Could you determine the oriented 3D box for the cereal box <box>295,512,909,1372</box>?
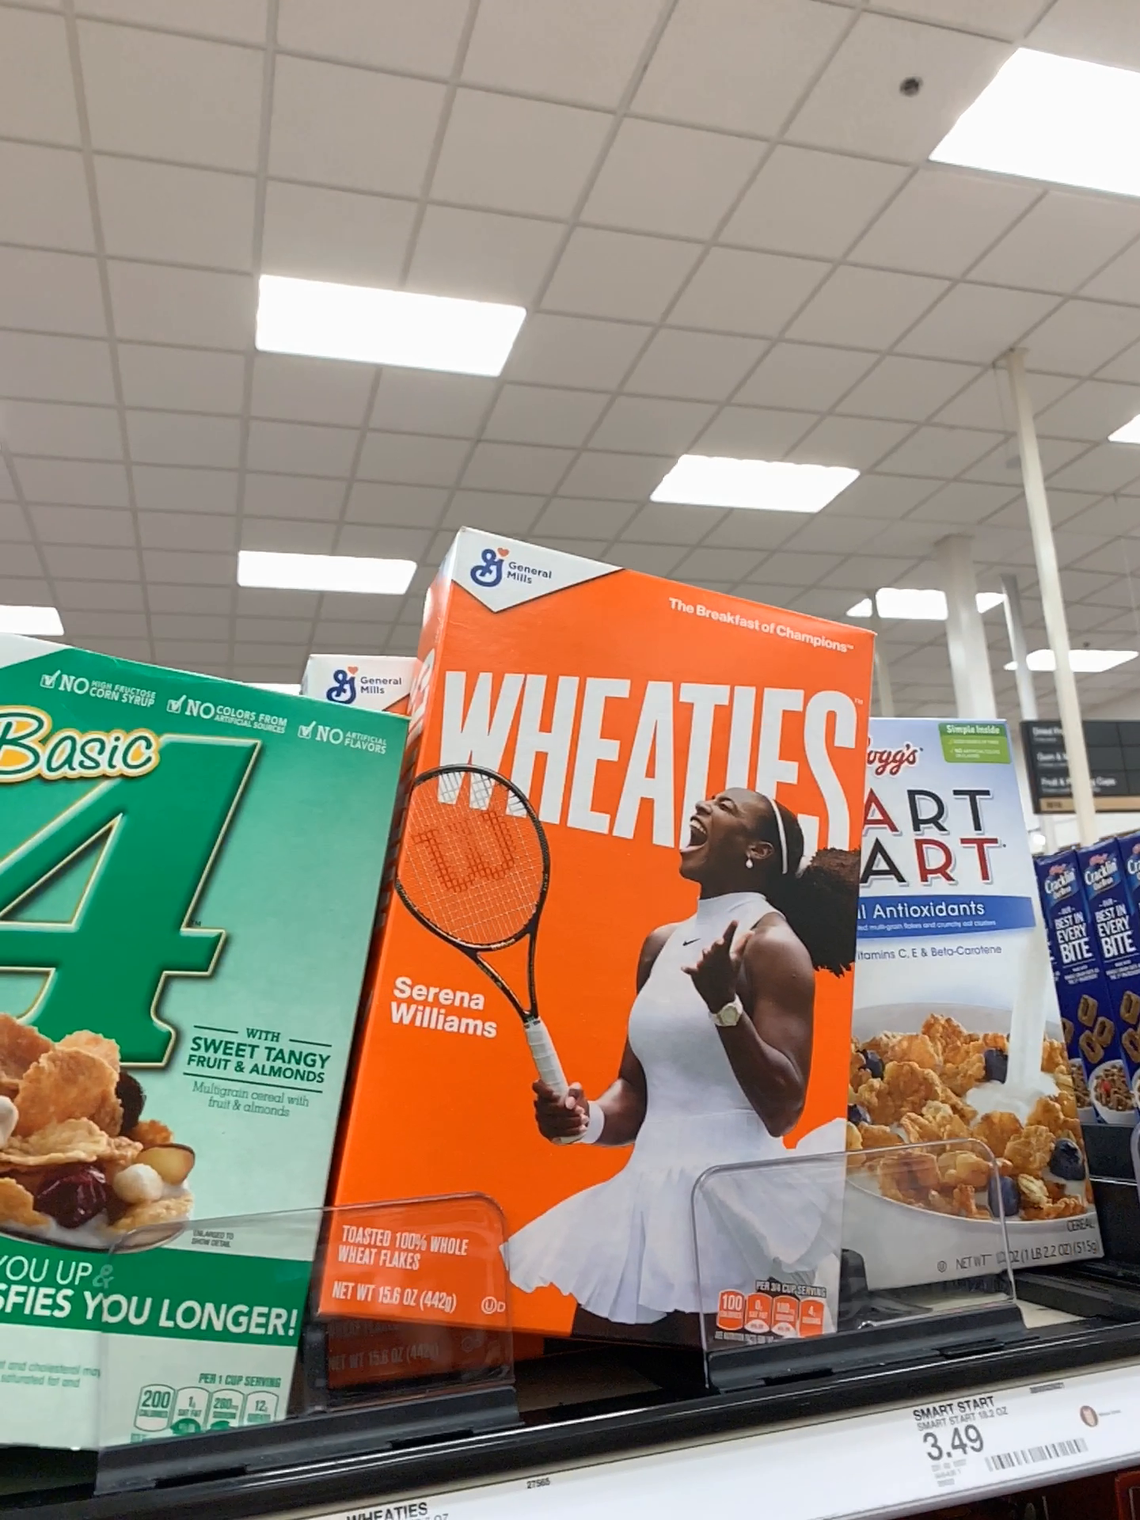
[{"bbox_3d":[0.022,0.069,0.473,0.200,0.291,0.070,12,-18,-13],"label":"cereal box"}]
